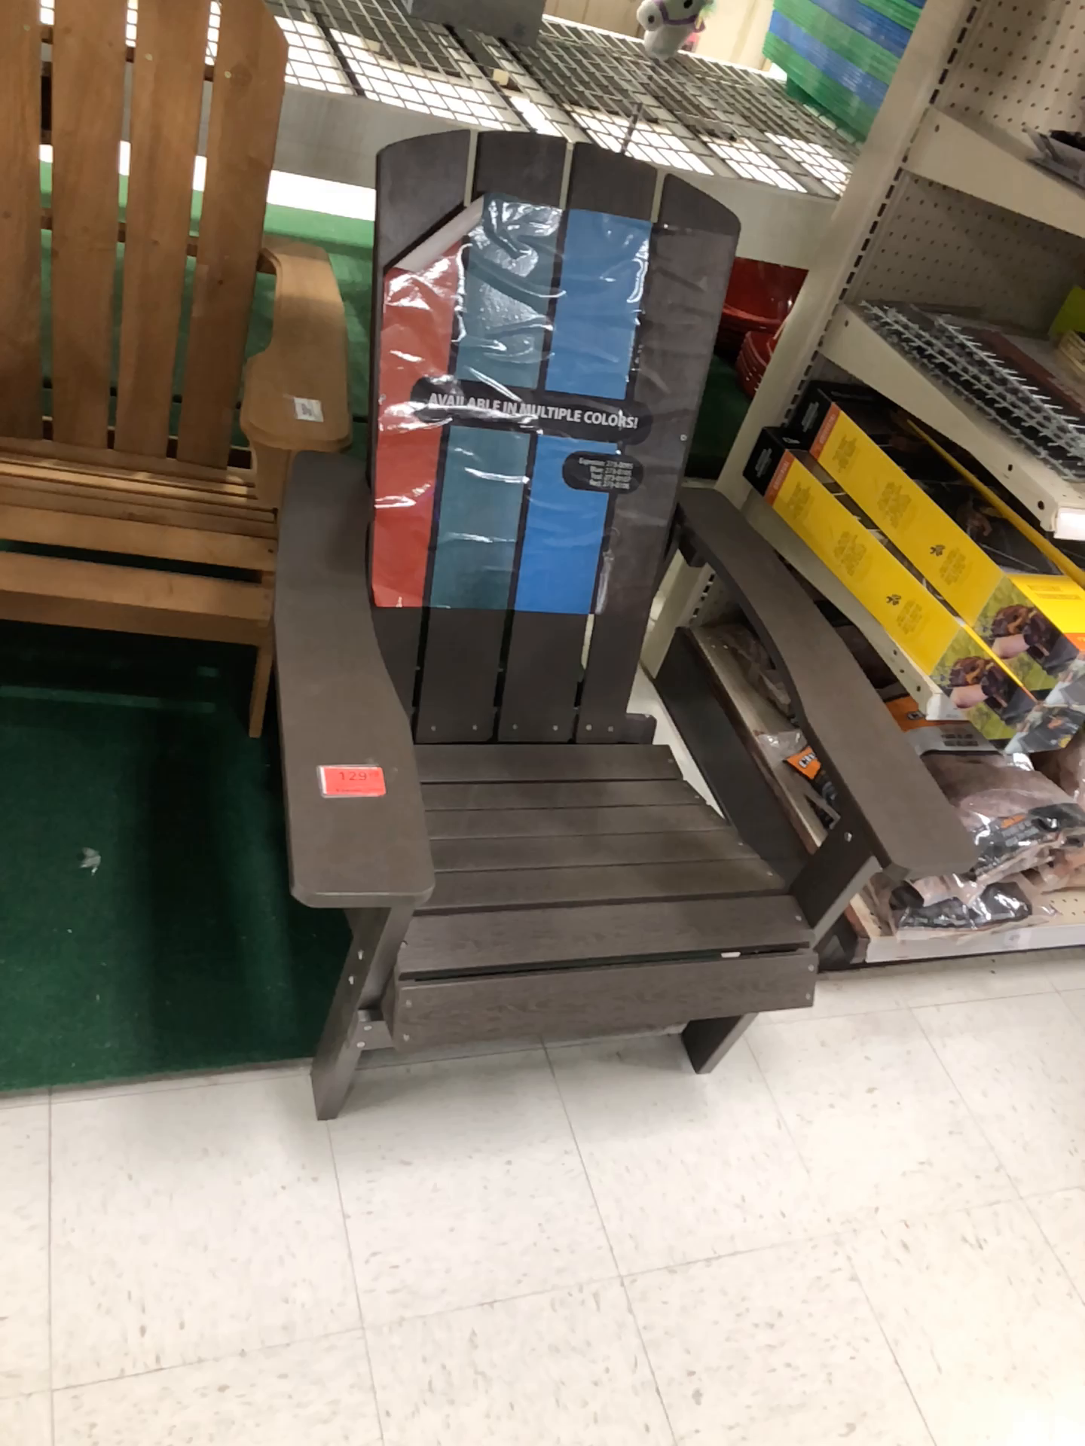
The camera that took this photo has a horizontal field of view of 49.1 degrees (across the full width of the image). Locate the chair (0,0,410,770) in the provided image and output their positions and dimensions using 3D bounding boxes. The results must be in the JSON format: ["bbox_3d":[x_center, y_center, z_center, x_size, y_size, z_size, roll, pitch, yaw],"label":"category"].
[{"bbox_3d":[-0.638,-0.598,1.677,0.638,0.846,0.978,5,42,-19],"label":"chair"}]

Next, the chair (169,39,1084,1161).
[{"bbox_3d":[-0.013,-0.154,1.426,0.718,0.816,0.918,0,43,-23],"label":"chair"}]
